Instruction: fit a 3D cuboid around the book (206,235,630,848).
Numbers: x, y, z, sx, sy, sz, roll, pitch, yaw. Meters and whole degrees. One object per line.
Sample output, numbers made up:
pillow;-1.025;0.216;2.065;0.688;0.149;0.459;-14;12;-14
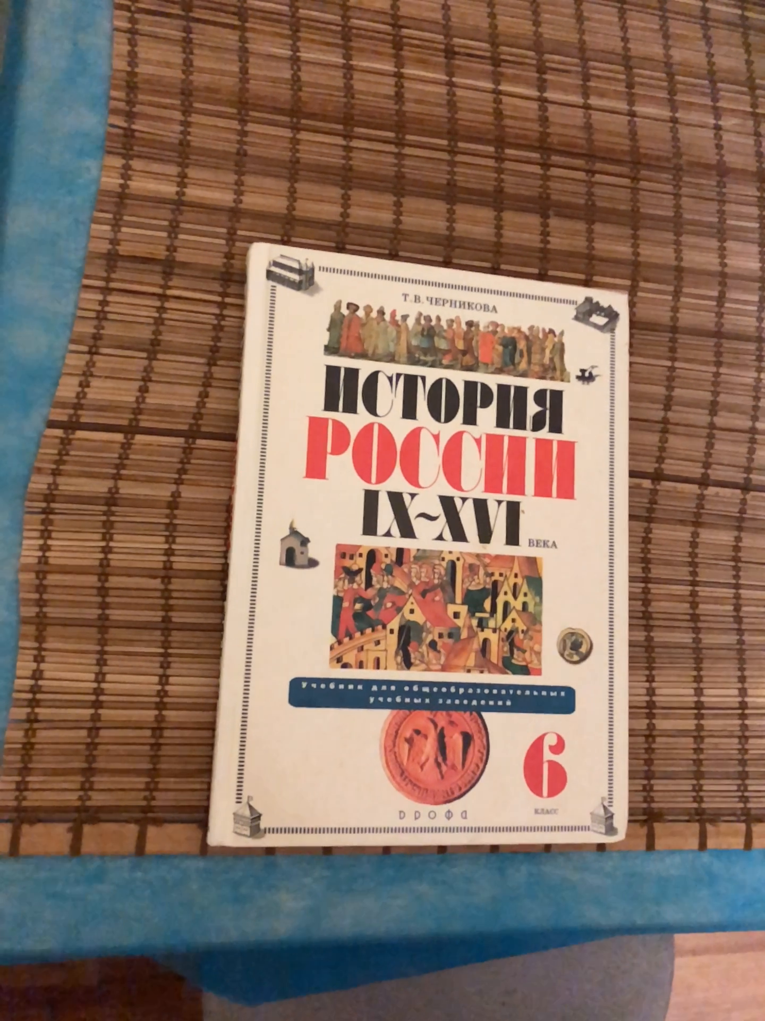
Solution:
book;0.020;0.013;0.359;0.170;0.029;0.240;4;81;-11
